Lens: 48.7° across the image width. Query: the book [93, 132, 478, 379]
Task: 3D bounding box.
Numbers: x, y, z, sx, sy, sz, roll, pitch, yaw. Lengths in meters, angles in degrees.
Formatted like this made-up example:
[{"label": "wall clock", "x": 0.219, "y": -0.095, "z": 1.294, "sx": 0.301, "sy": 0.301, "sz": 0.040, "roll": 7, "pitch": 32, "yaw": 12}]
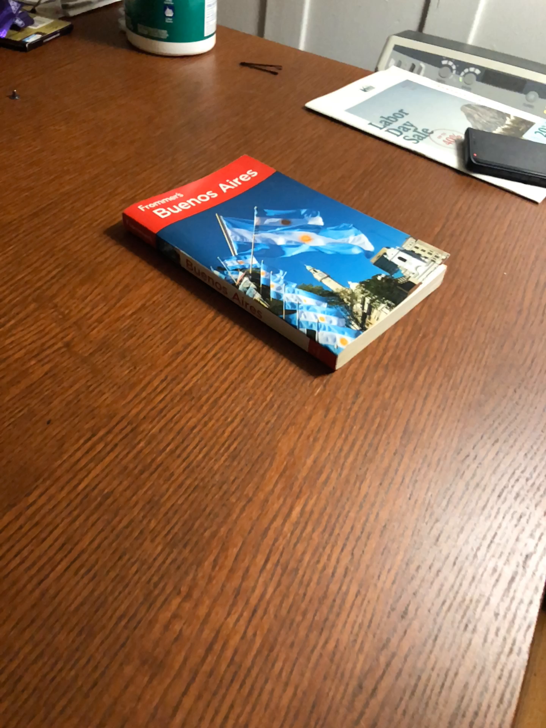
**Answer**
[{"label": "book", "x": 0.009, "y": -0.094, "z": 0.429, "sx": 0.220, "sy": 0.020, "sz": 0.161, "roll": 34, "pitch": 50, "yaw": 23}]
